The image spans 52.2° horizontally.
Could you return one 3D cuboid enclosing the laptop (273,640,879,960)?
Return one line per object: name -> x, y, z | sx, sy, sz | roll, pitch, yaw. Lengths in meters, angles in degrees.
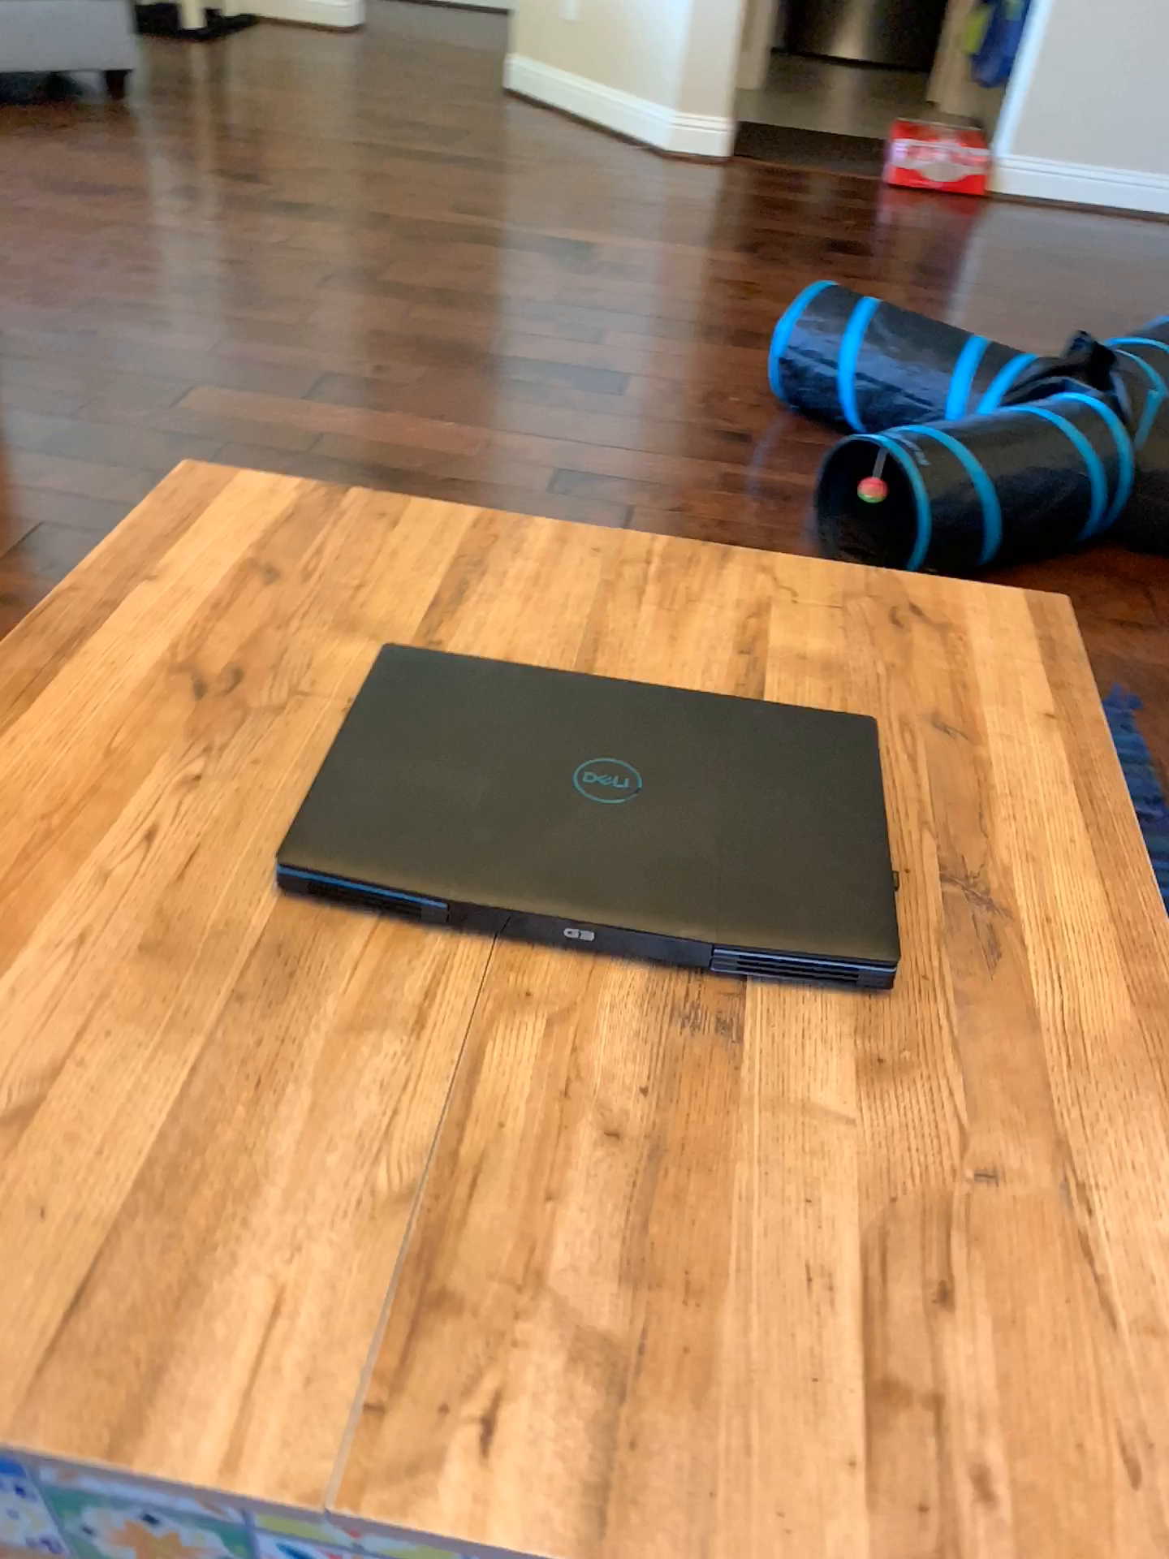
laptop -> 0.007, 0.000, 0.757 | 0.346, 0.001, 0.228 | 9, 39, 4
